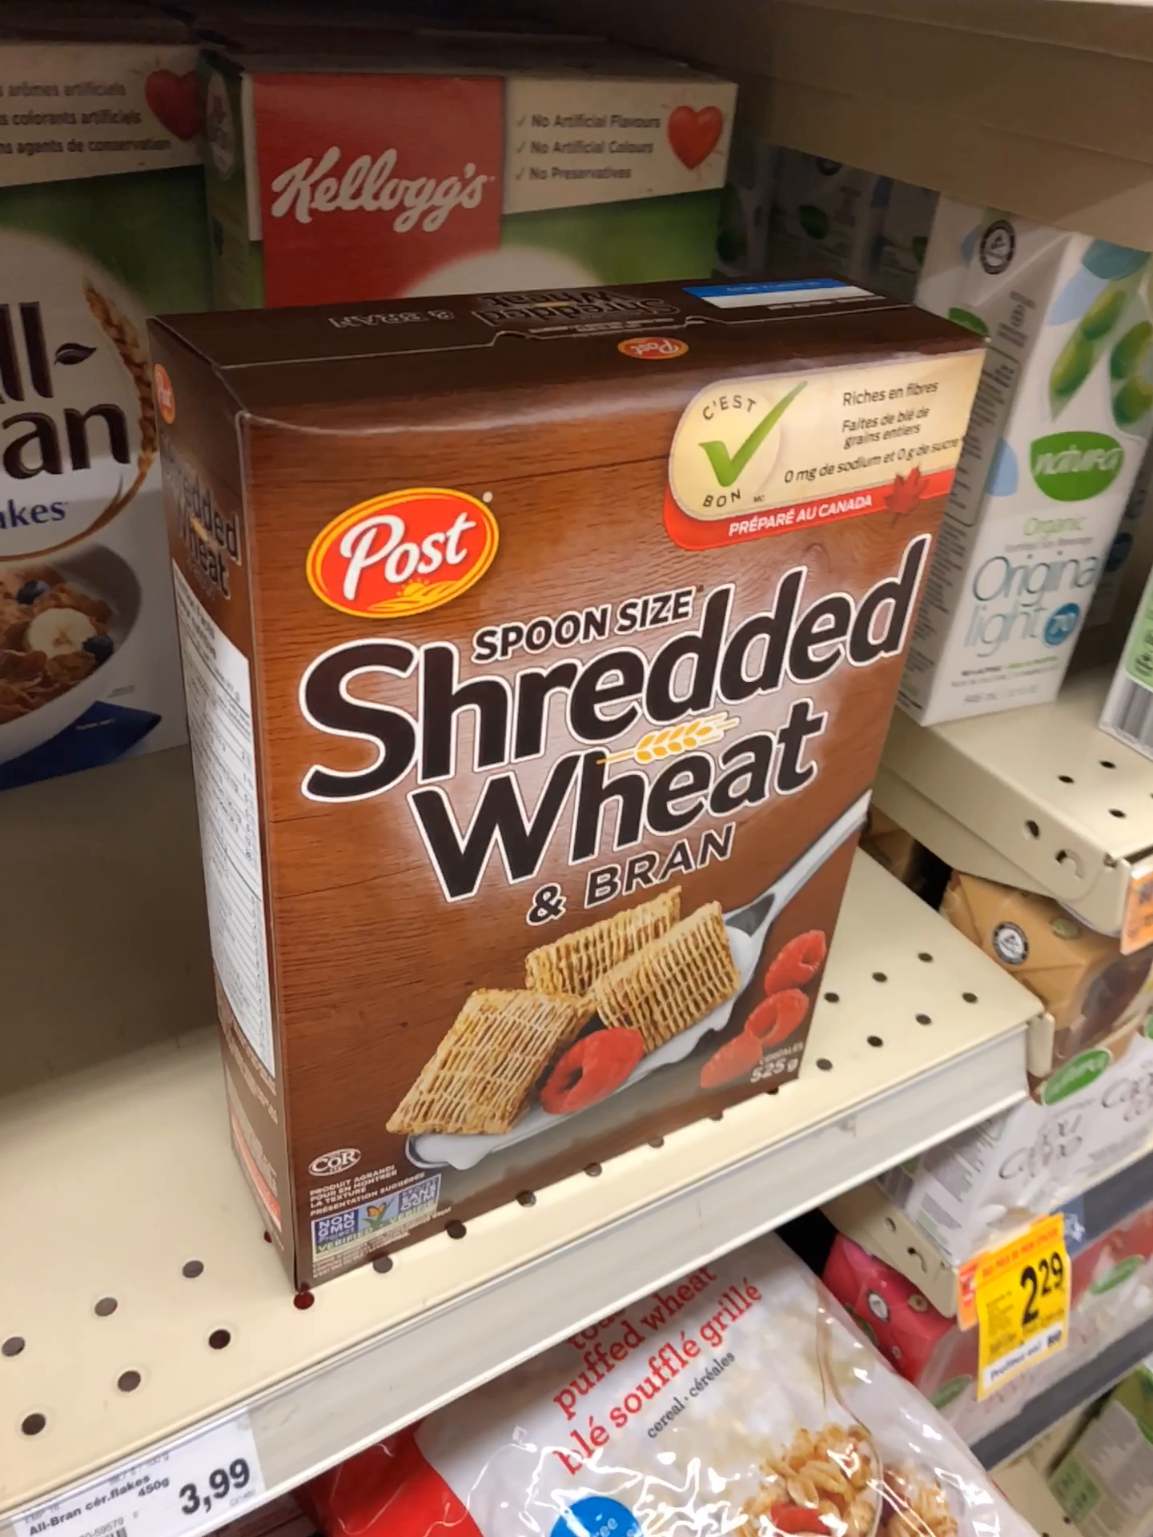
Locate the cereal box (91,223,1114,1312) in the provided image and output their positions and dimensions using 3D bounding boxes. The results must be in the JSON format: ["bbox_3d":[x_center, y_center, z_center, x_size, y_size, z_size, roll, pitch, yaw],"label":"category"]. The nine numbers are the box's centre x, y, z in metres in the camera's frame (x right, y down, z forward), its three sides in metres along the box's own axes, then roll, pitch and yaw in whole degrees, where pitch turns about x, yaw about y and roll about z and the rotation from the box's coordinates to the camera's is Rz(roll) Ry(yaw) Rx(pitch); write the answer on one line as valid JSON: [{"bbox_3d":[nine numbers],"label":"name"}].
[{"bbox_3d":[0.005,-0.001,0.339,0.211,0.248,0.070,-15,40,-27],"label":"cereal box"}]
